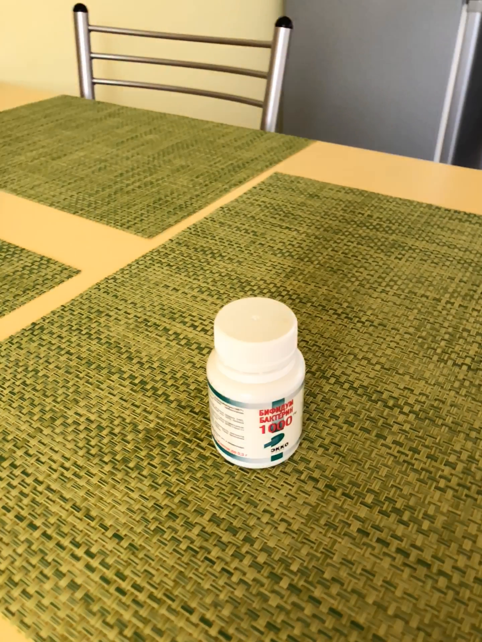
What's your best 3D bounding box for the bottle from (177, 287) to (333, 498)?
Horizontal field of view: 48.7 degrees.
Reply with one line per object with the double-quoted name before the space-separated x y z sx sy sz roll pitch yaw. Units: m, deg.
"bottle" 0.004 0.031 0.245 0.050 0.069 0.050 0 35 0
